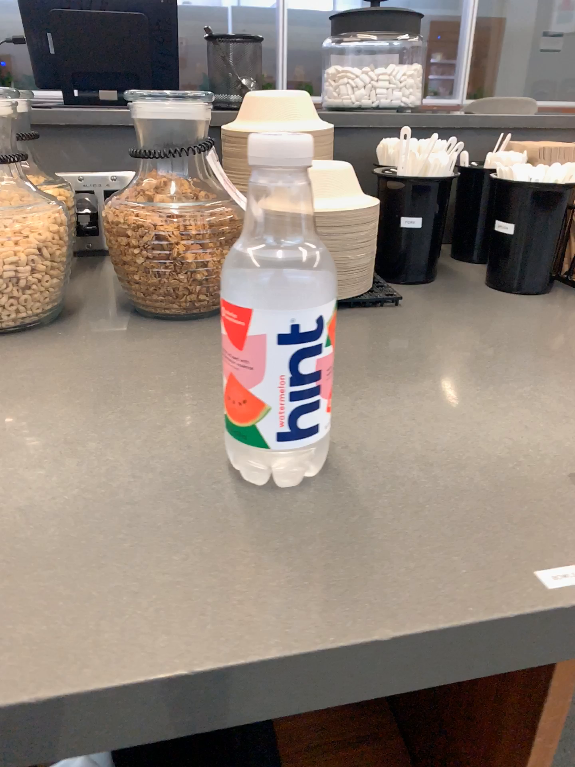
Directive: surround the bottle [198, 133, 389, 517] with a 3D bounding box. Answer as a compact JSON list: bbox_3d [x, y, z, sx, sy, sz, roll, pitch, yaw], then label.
[{"bbox_3d":[0.002,-0.035,0.343,0.070,0.199,0.070,1,25,0],"label":"bottle"}]
